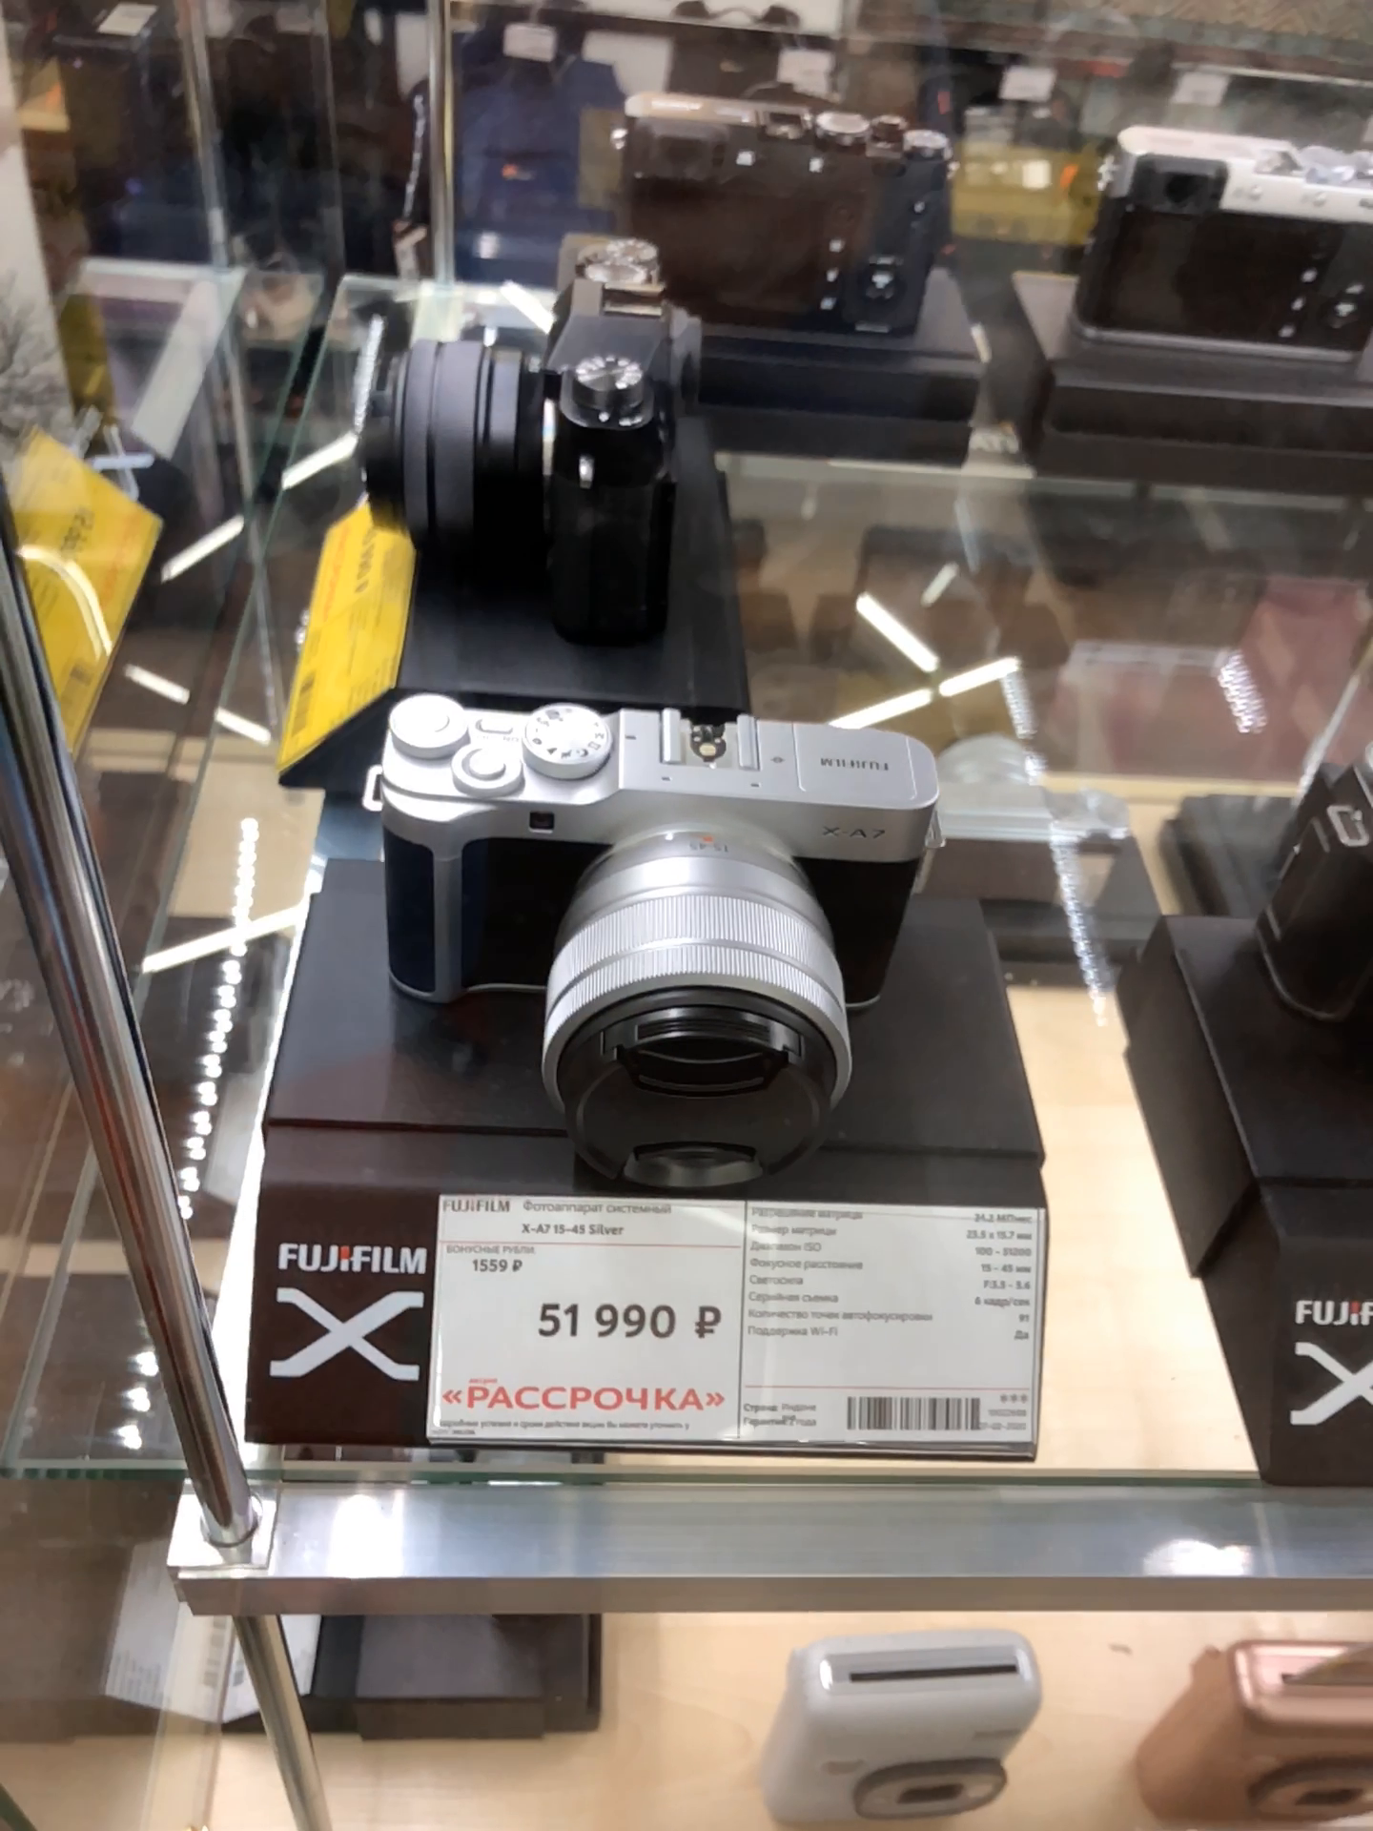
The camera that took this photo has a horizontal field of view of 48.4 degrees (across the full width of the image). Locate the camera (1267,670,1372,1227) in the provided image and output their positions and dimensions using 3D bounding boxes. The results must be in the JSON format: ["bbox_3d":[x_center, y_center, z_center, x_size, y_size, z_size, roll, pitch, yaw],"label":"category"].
[{"bbox_3d":[0.220,0.008,0.357,0.115,0.080,0.096,3,45,-5],"label":"camera"}]

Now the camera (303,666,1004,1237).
[{"bbox_3d":[-0.009,0.009,0.332,0.126,0.080,0.085,4,45,-4],"label":"camera"}]

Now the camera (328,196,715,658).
[{"bbox_3d":[-0.048,-0.146,0.453,0.097,0.080,0.116,2,45,-6],"label":"camera"}]
